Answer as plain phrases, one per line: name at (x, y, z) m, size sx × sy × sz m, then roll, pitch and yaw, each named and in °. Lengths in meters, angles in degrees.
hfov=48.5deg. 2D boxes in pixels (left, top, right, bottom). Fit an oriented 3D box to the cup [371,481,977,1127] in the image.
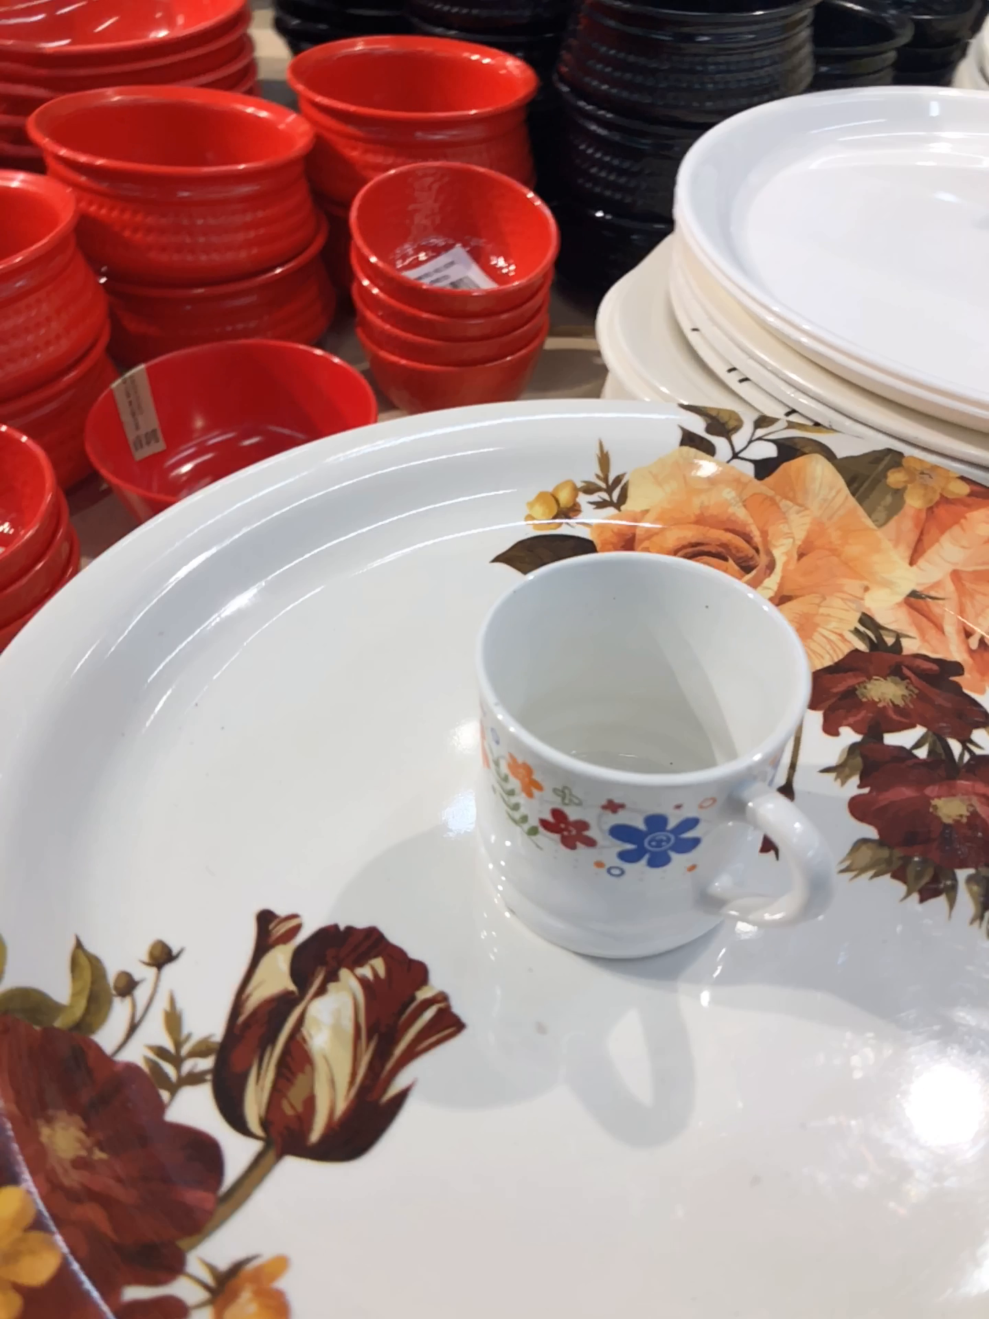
cup at (0.030, 0.026, 0.229) m, size 0.070 × 0.070 × 0.090 m, roll -26°, pitch 51°, yaw -24°
